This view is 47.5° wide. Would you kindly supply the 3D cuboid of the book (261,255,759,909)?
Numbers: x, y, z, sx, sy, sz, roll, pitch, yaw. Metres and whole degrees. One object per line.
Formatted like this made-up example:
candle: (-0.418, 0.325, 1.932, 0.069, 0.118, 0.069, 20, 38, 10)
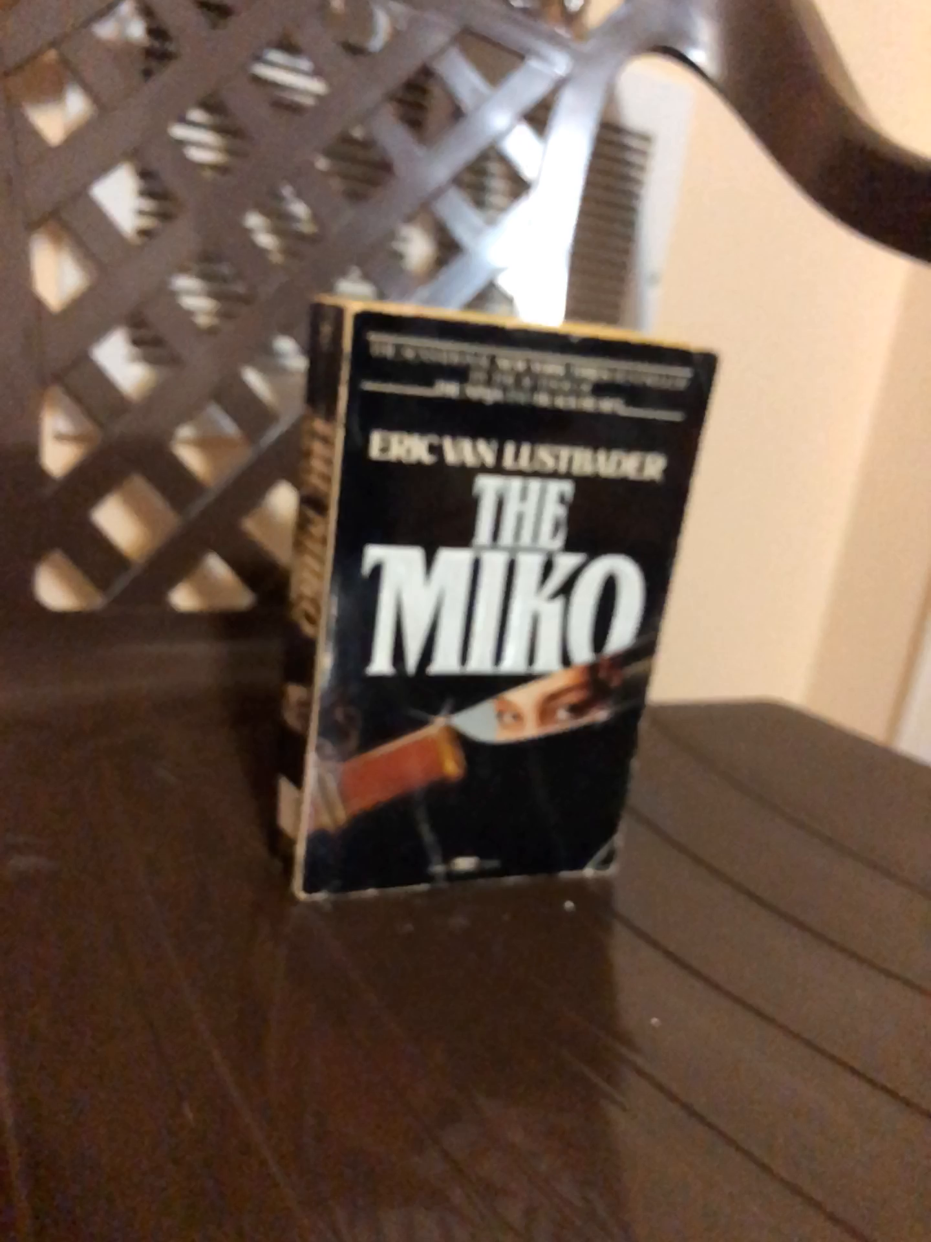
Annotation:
book: (0.010, -0.008, 0.310, 0.120, 0.170, 0.040, 1, 13, -24)
